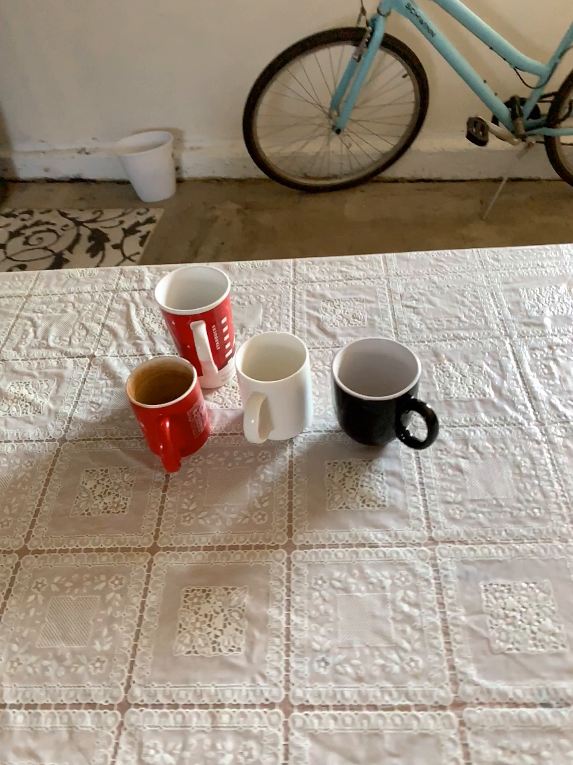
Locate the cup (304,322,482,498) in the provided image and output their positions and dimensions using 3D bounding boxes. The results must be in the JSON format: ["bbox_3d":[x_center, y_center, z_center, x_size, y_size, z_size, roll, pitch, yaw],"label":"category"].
[{"bbox_3d":[0.119,0.026,0.677,0.110,0.090,0.161,-36,53,-24],"label":"cup"}]

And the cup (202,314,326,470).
[{"bbox_3d":[-0.021,0.009,0.722,0.100,0.110,0.140,9,49,16],"label":"cup"}]

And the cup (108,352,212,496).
[{"bbox_3d":[-0.146,0.049,0.708,0.090,0.090,0.141,-6,47,2],"label":"cup"}]

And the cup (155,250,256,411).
[{"bbox_3d":[-0.108,-0.069,0.777,0.100,0.139,0.141,-10,47,-2],"label":"cup"}]
